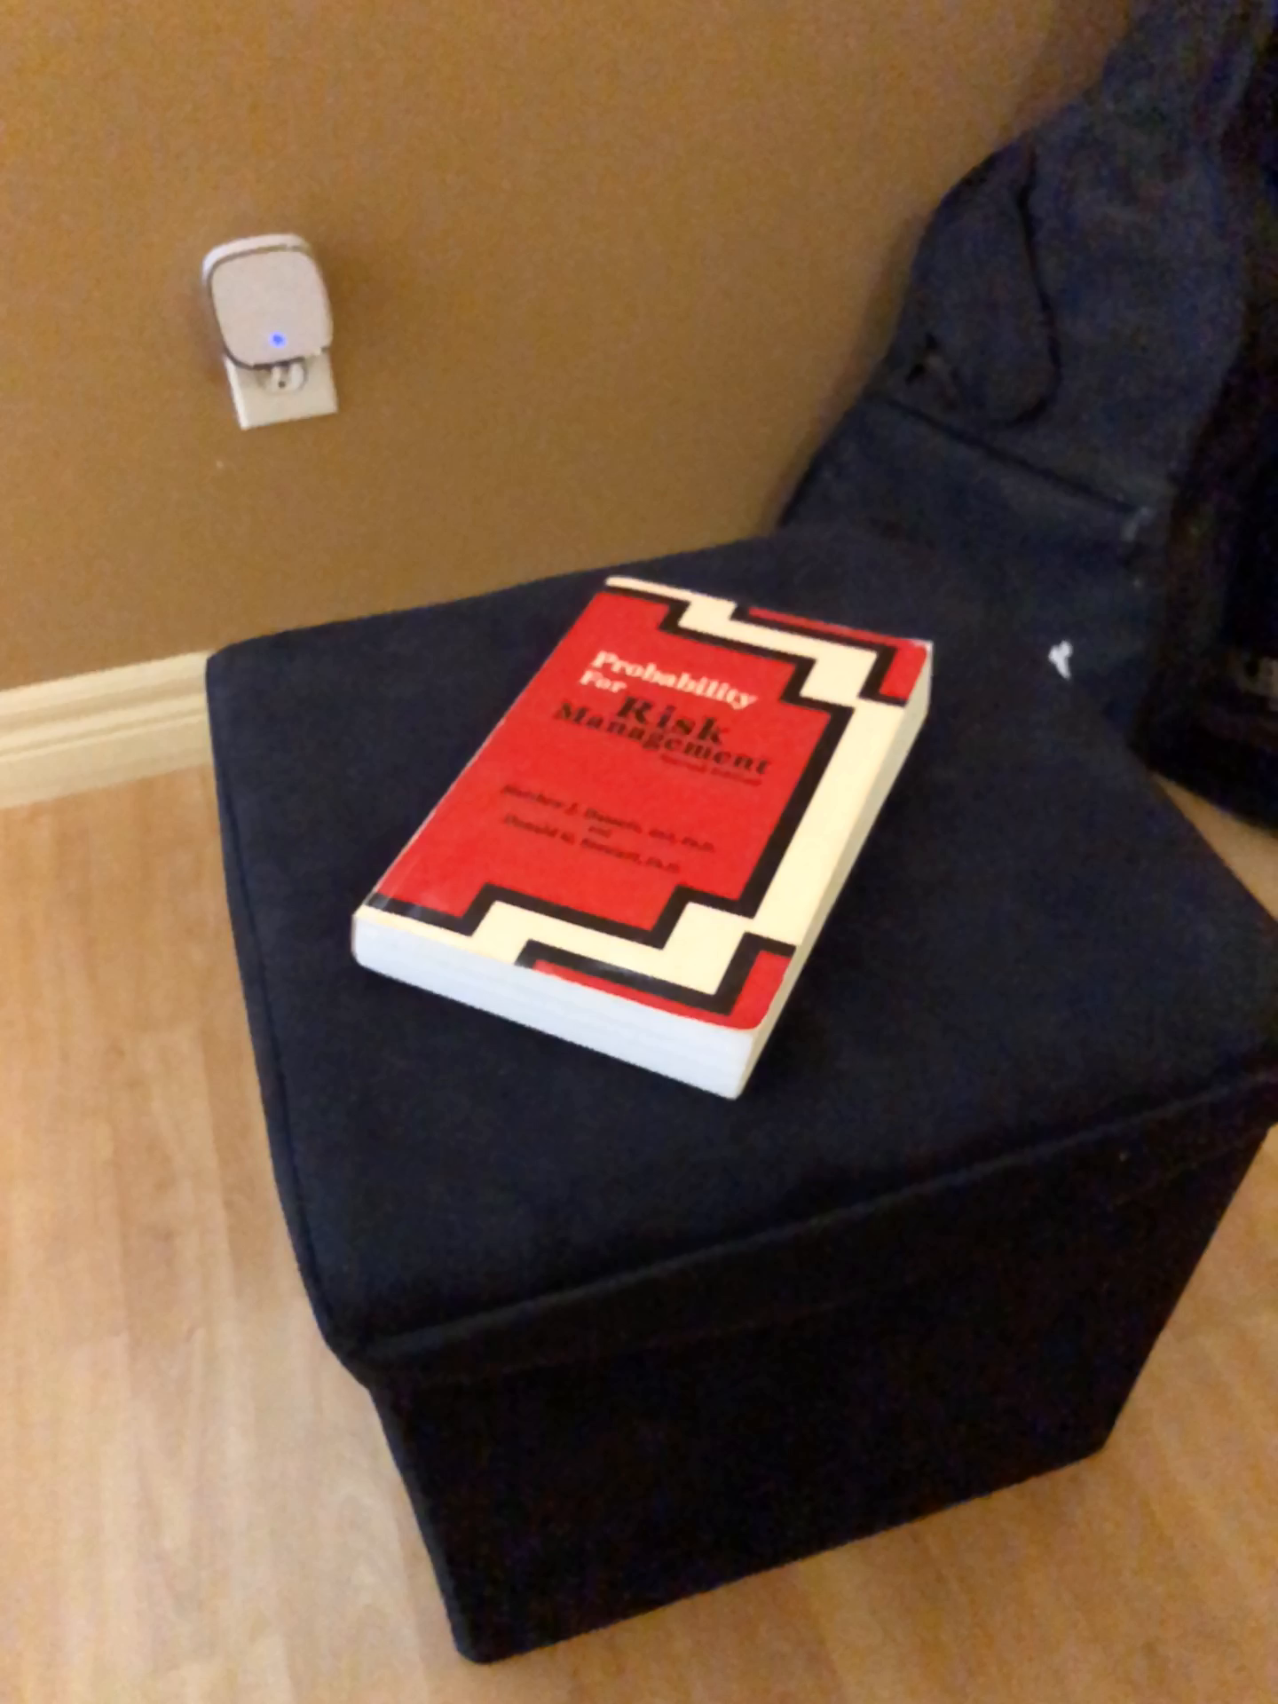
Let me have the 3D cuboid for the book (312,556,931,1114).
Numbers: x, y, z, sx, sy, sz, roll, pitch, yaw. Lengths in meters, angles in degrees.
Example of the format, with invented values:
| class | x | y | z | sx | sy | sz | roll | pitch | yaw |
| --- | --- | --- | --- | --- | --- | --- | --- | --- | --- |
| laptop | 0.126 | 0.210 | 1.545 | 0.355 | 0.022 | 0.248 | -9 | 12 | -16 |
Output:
| class | x | y | z | sx | sy | sz | roll | pitch | yaw |
| --- | --- | --- | --- | --- | --- | --- | --- | --- | --- |
| book | 0.004 | -0.022 | 0.533 | 0.150 | 0.041 | 0.216 | 17 | 48 | 17 |
